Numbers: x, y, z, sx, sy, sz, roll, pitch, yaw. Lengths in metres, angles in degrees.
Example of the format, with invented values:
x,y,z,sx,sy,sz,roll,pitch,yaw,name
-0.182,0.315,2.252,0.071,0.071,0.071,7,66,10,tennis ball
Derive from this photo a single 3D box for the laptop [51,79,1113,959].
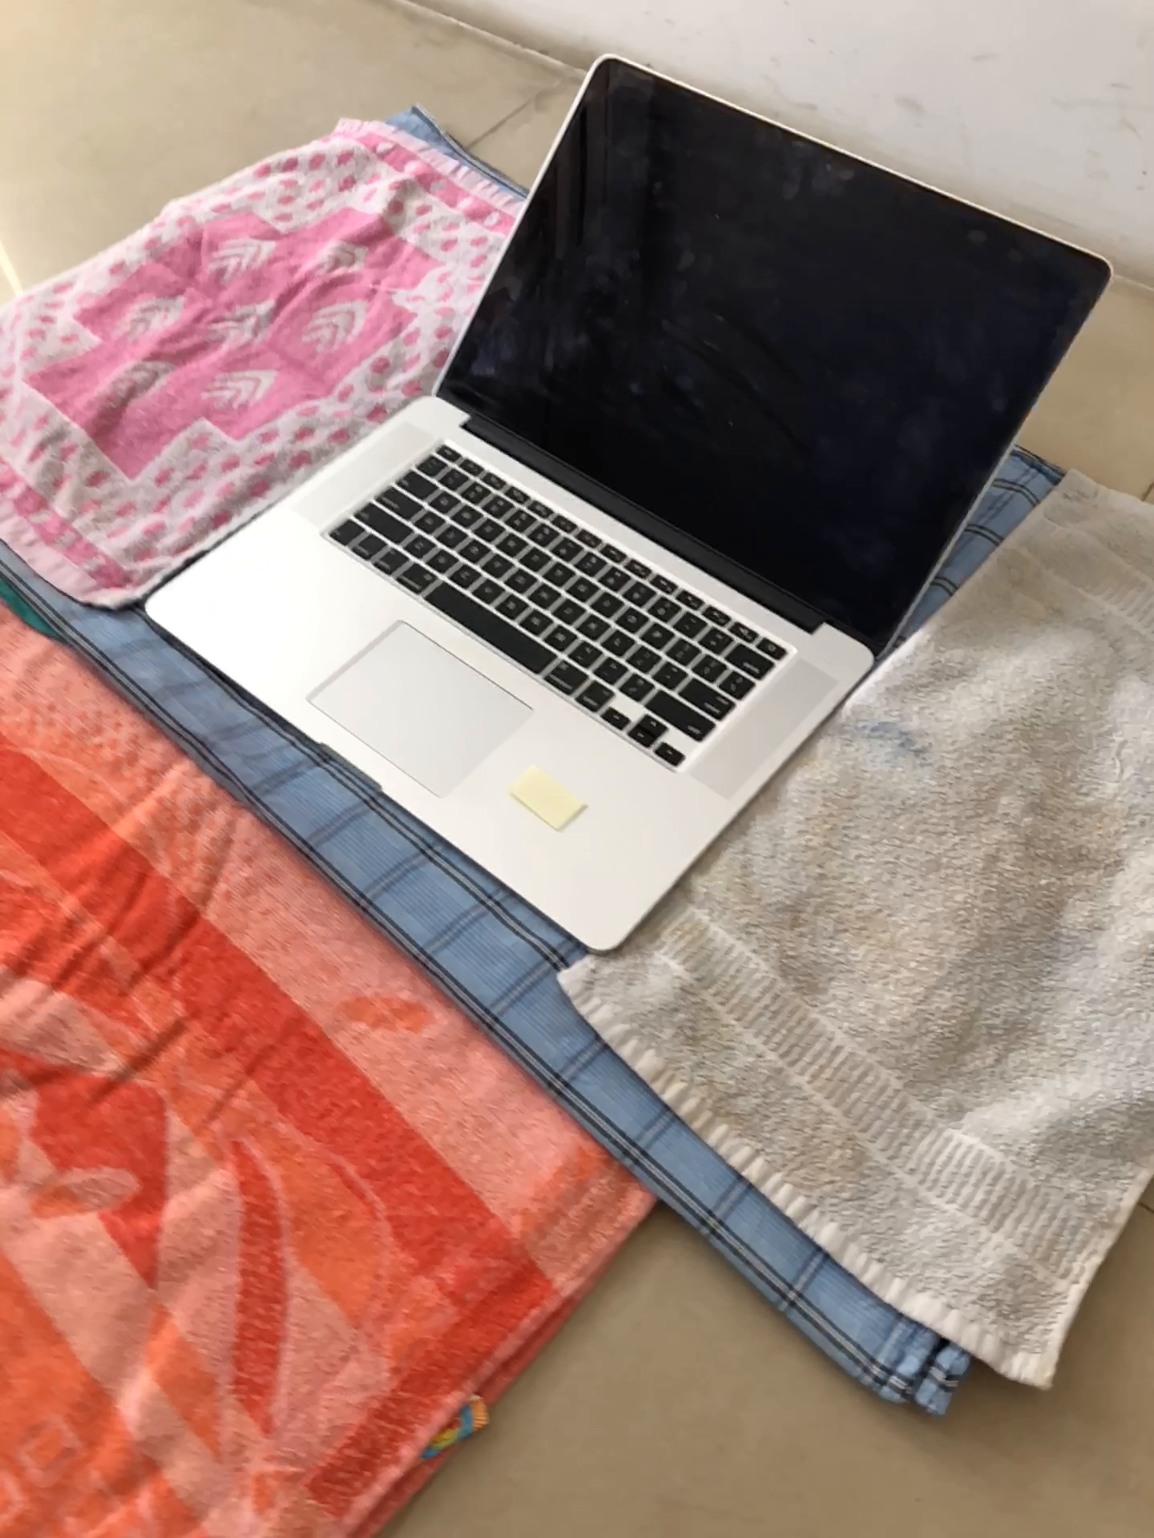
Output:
x,y,z,sx,sy,sz,roll,pitch,yaw,name
0.012,-0.169,0.694,0.343,0.144,0.414,34,64,23,laptop
